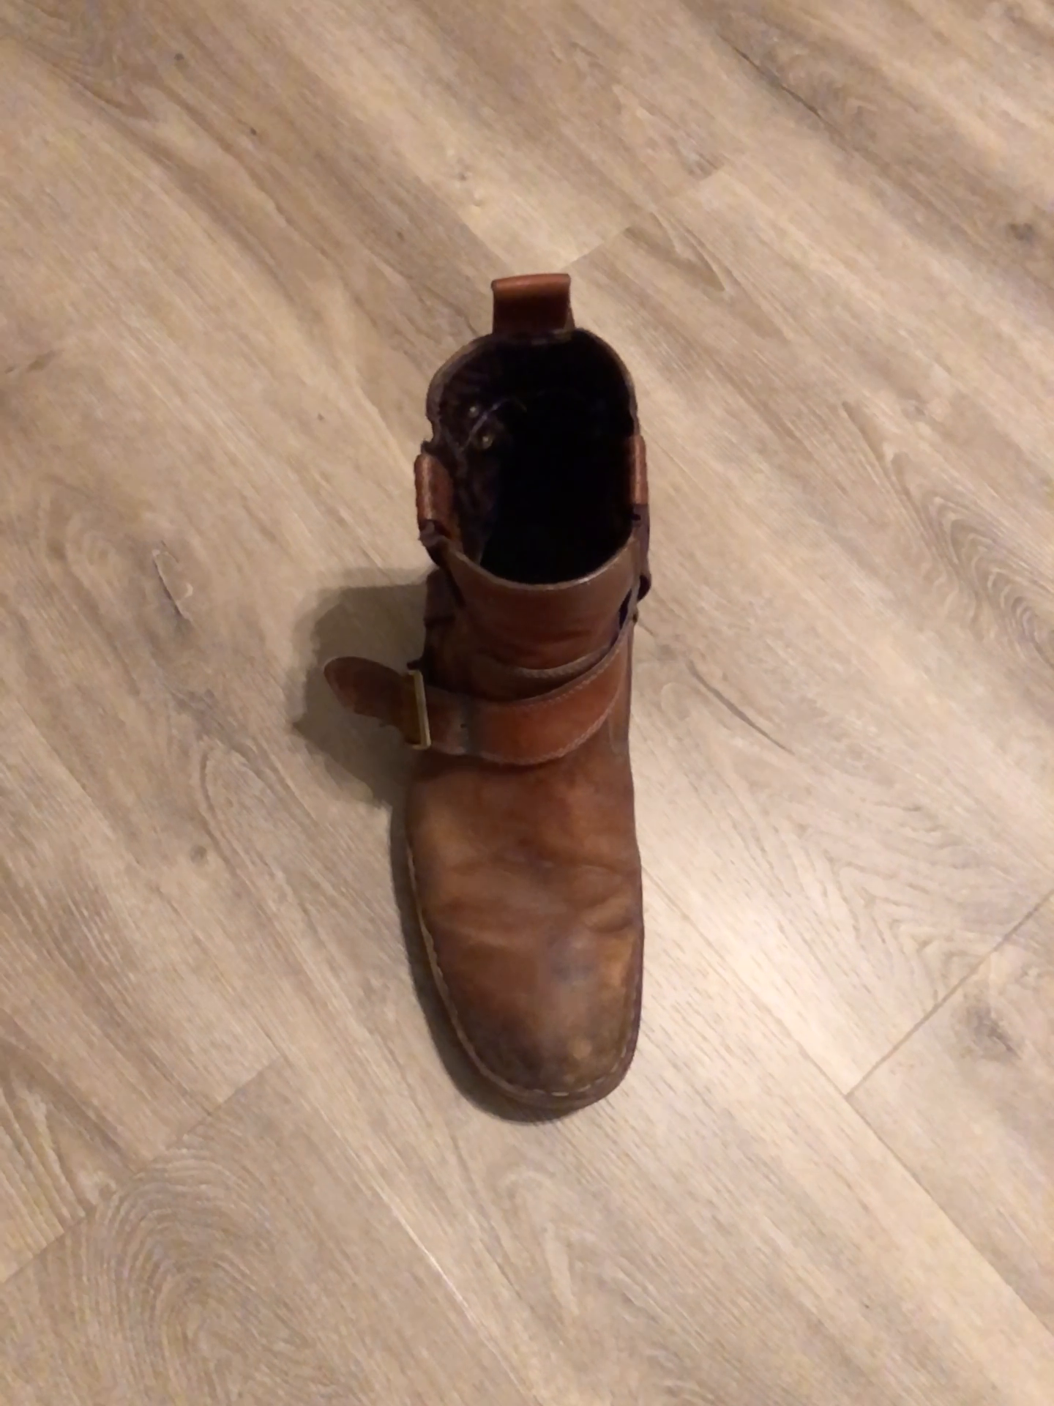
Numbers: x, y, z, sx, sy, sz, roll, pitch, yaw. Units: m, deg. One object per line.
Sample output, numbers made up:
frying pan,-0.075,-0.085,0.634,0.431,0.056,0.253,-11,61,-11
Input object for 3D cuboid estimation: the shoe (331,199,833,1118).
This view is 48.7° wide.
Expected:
shoe,-0.001,-0.002,0.450,0.130,0.210,0.290,-2,68,-5
